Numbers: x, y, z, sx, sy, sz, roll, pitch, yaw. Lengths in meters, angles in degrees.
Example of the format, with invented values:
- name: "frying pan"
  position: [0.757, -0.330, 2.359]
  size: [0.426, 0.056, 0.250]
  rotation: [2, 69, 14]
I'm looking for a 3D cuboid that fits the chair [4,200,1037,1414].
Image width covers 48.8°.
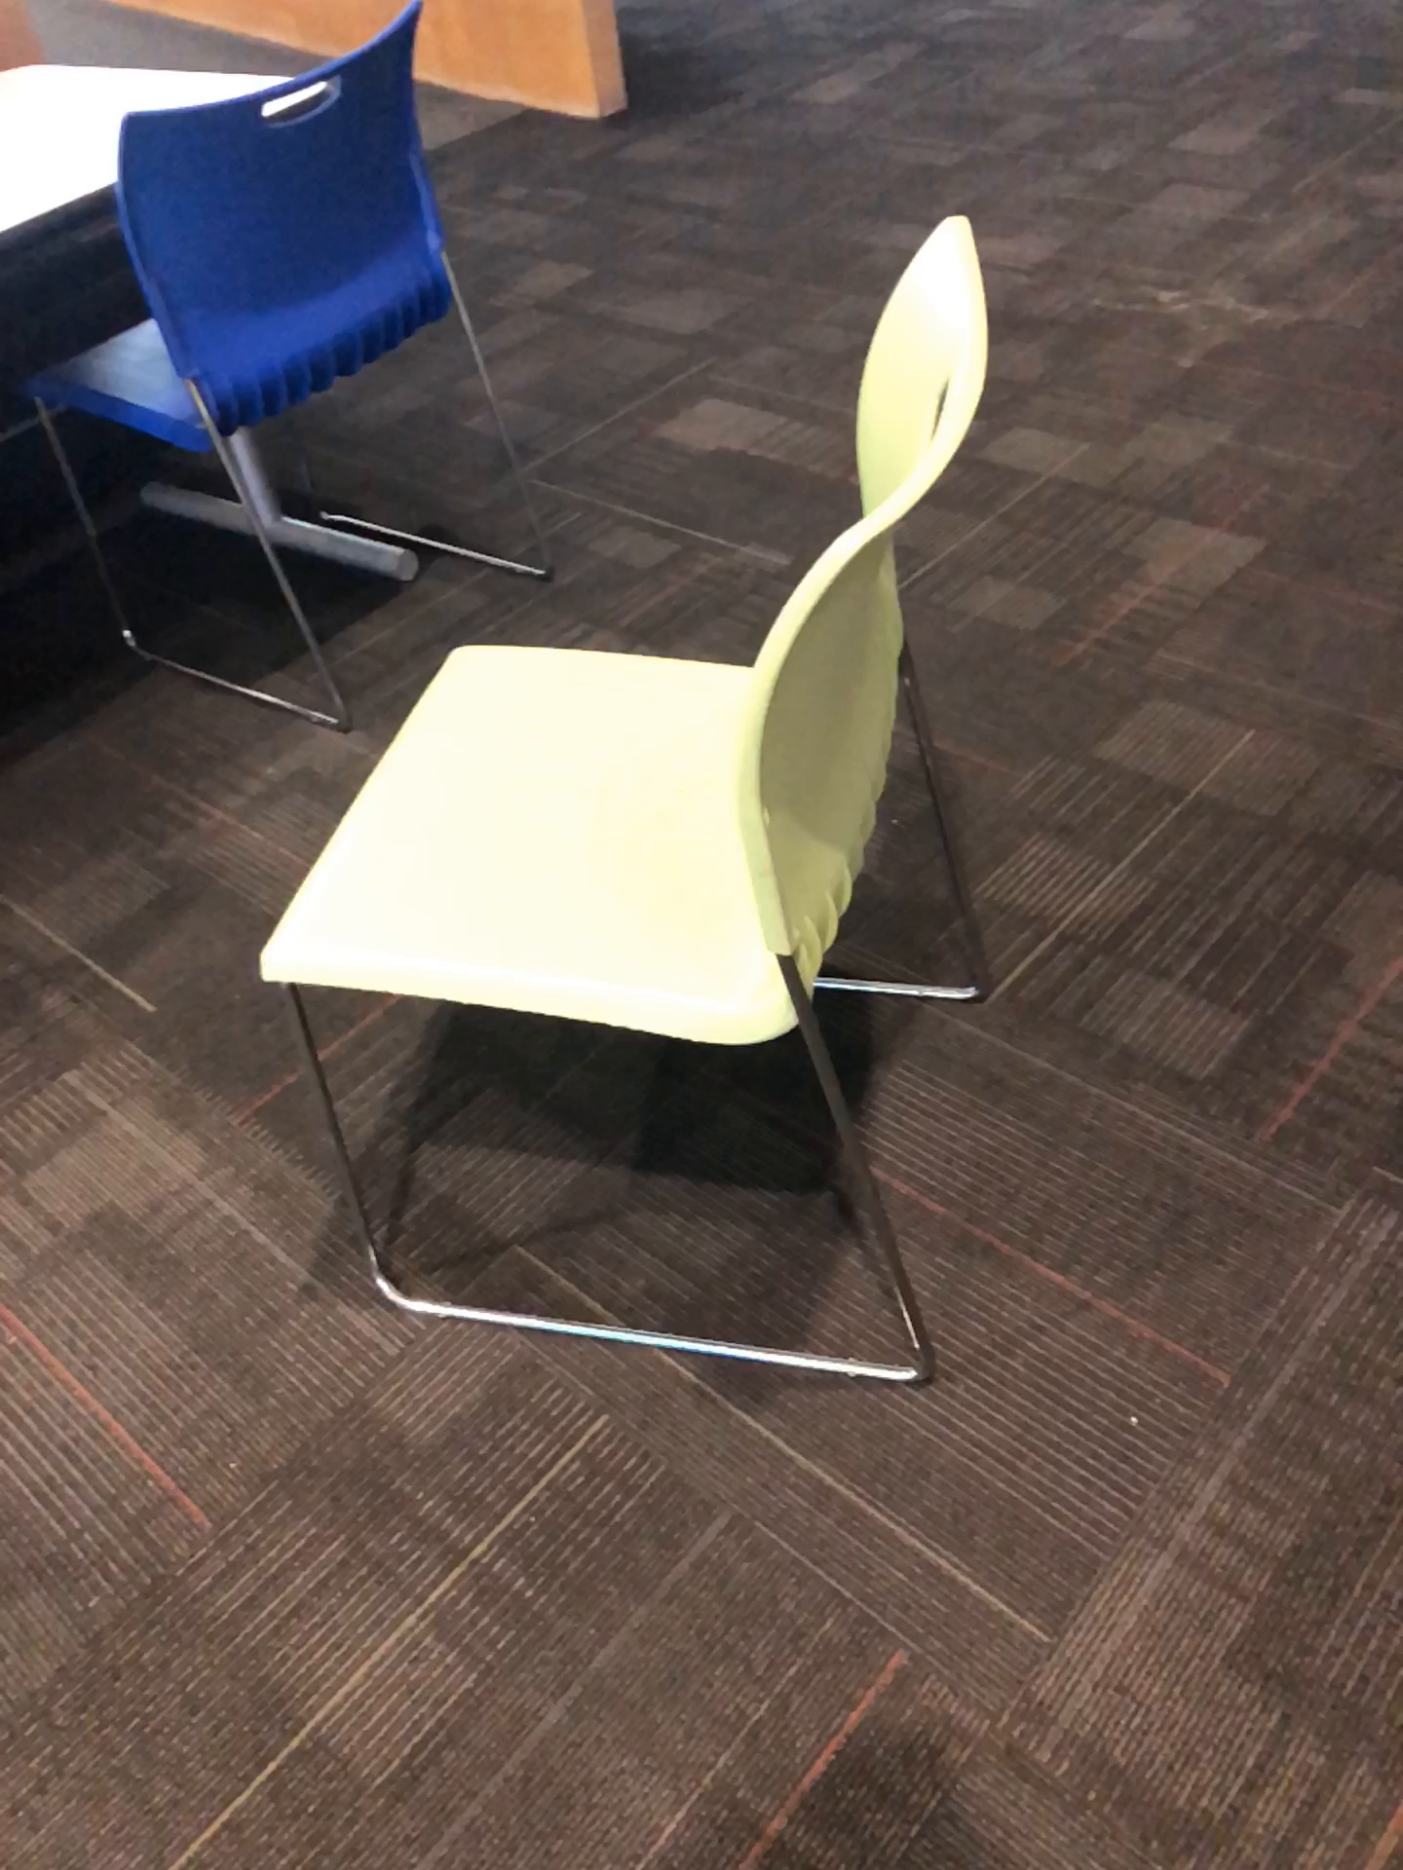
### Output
- name: "chair"
  position: [-0.030, -0.094, 1.257]
  size: [0.540, 0.756, 0.542]
  rotation: [4, 43, 15]
